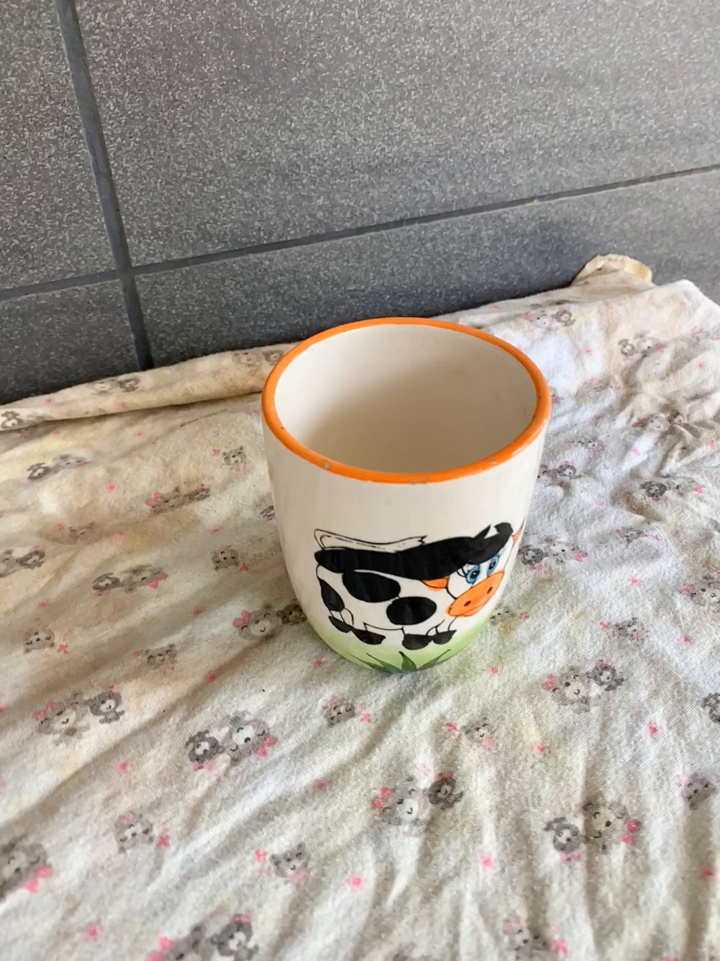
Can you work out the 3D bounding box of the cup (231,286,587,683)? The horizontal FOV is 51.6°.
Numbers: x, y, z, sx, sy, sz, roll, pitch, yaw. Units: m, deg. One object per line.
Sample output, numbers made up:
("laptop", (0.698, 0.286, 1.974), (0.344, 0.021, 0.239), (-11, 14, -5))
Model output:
("cup", (0.012, 0.001, 0.227), (0.080, 0.090, 0.080), (-1, 41, 0))
